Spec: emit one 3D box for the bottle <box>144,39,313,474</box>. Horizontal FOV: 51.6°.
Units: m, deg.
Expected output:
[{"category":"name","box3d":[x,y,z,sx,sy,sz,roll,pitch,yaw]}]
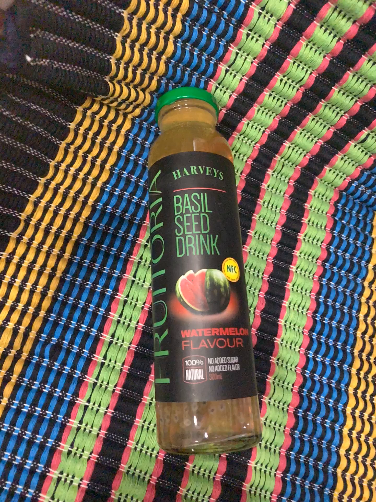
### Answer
[{"category":"bottle","box3d":[0.014,-0.004,0.206,0.060,0.060,0.200,-4,75,2]}]
